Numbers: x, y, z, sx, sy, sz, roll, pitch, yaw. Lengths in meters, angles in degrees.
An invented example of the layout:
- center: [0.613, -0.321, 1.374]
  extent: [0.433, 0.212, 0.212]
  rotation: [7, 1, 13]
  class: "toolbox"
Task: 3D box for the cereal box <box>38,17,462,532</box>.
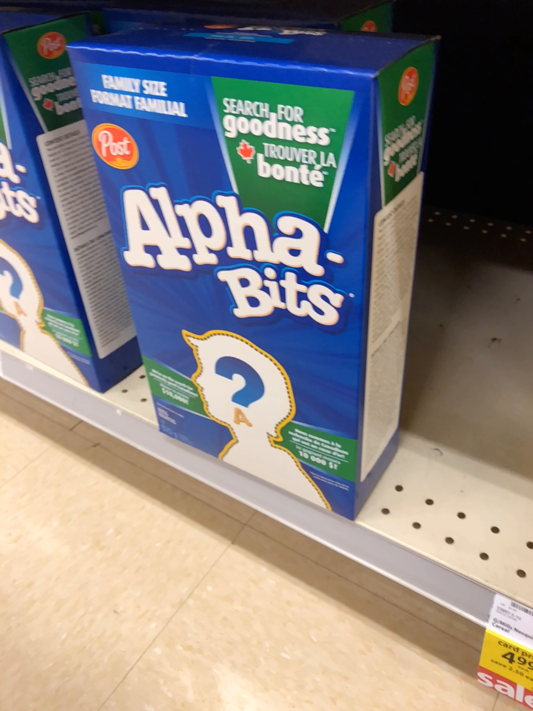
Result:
- center: [-0.009, -0.047, 0.395]
  extent: [0.211, 0.298, 0.080]
  rotation: [19, 44, 27]
  class: "cereal box"
